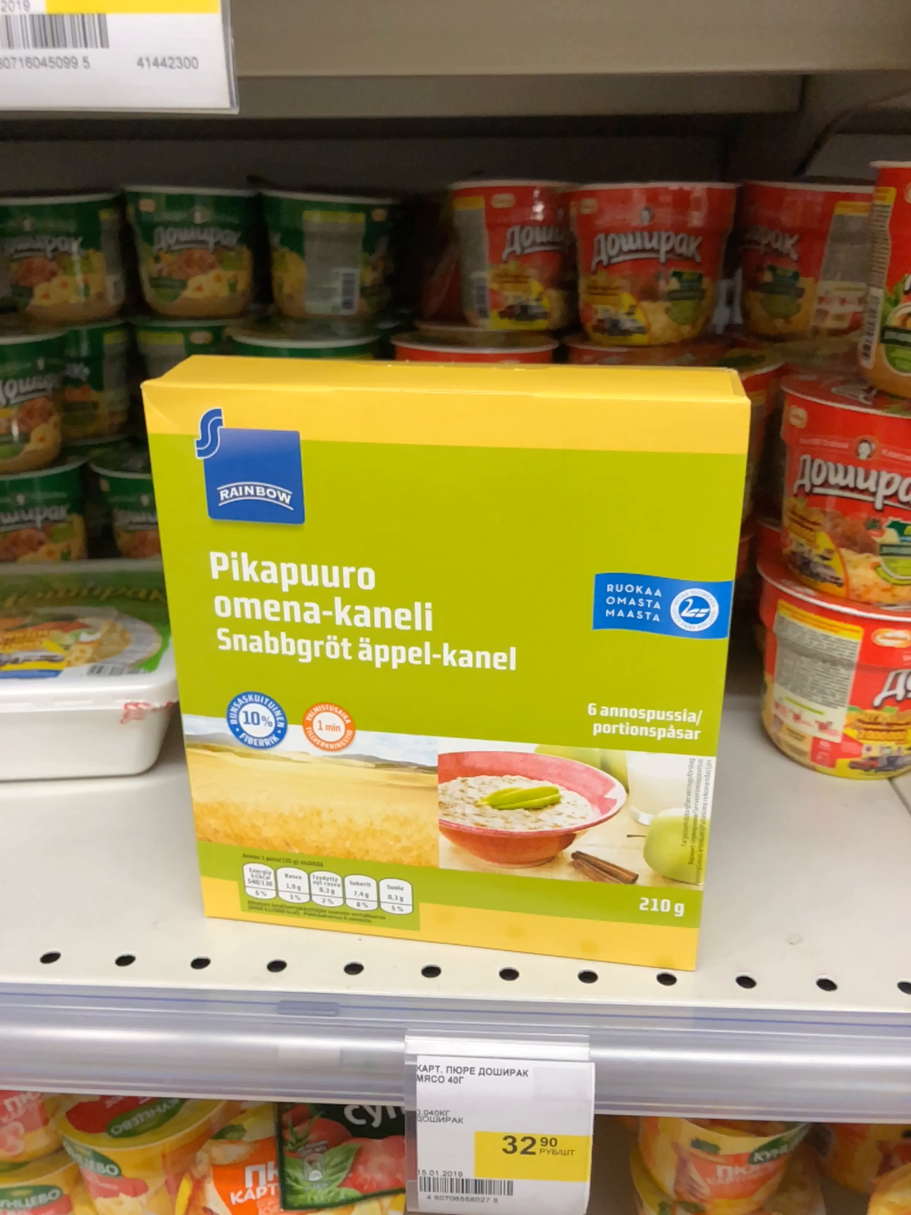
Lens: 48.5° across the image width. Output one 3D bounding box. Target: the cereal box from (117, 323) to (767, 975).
[{"bbox_3d":[-0.003,0.012,0.317,0.170,0.189,0.050,3,21,9],"label":"cereal box"}]
